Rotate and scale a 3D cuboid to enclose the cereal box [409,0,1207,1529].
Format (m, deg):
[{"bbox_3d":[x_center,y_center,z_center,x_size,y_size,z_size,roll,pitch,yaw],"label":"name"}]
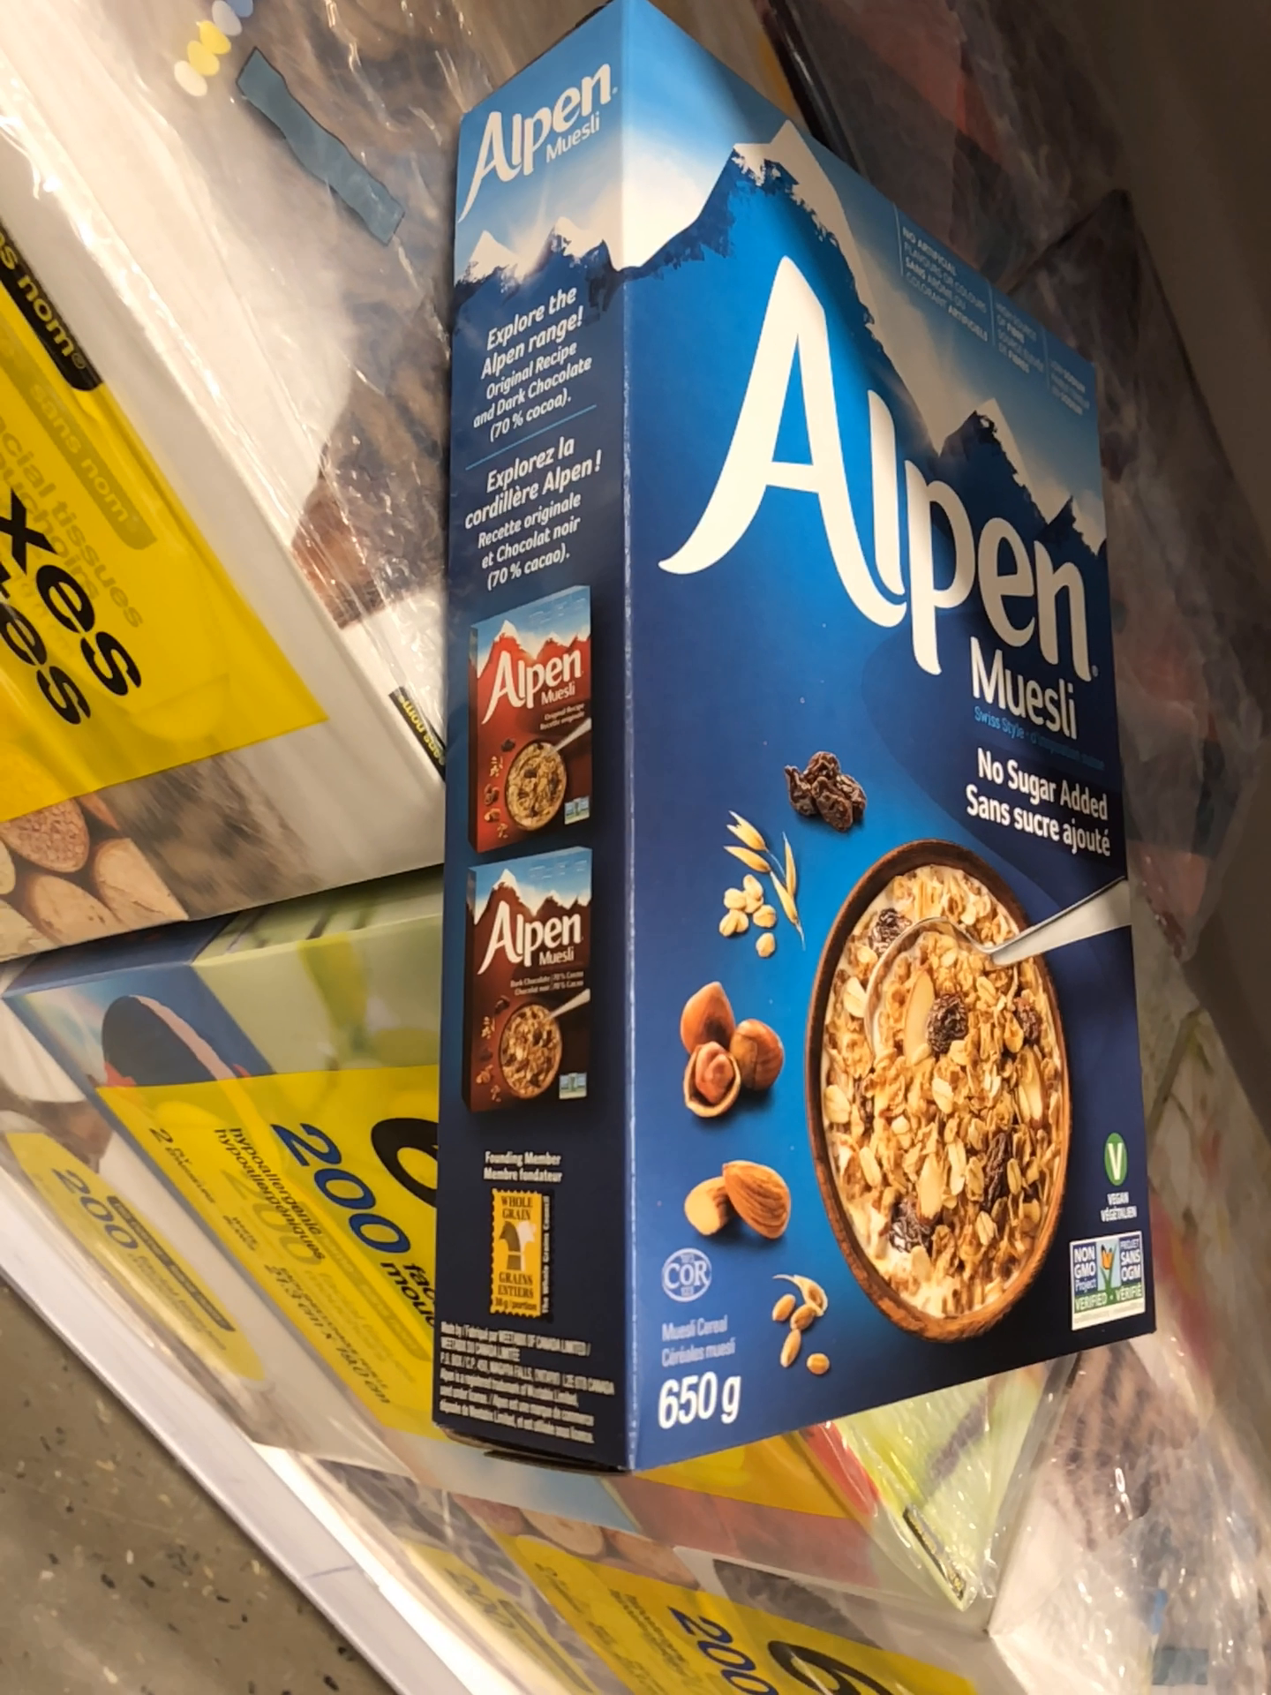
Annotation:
[{"bbox_3d":[0.048,-0.027,0.298,0.191,0.050,0.270,10,76,-46],"label":"cereal box"}]
